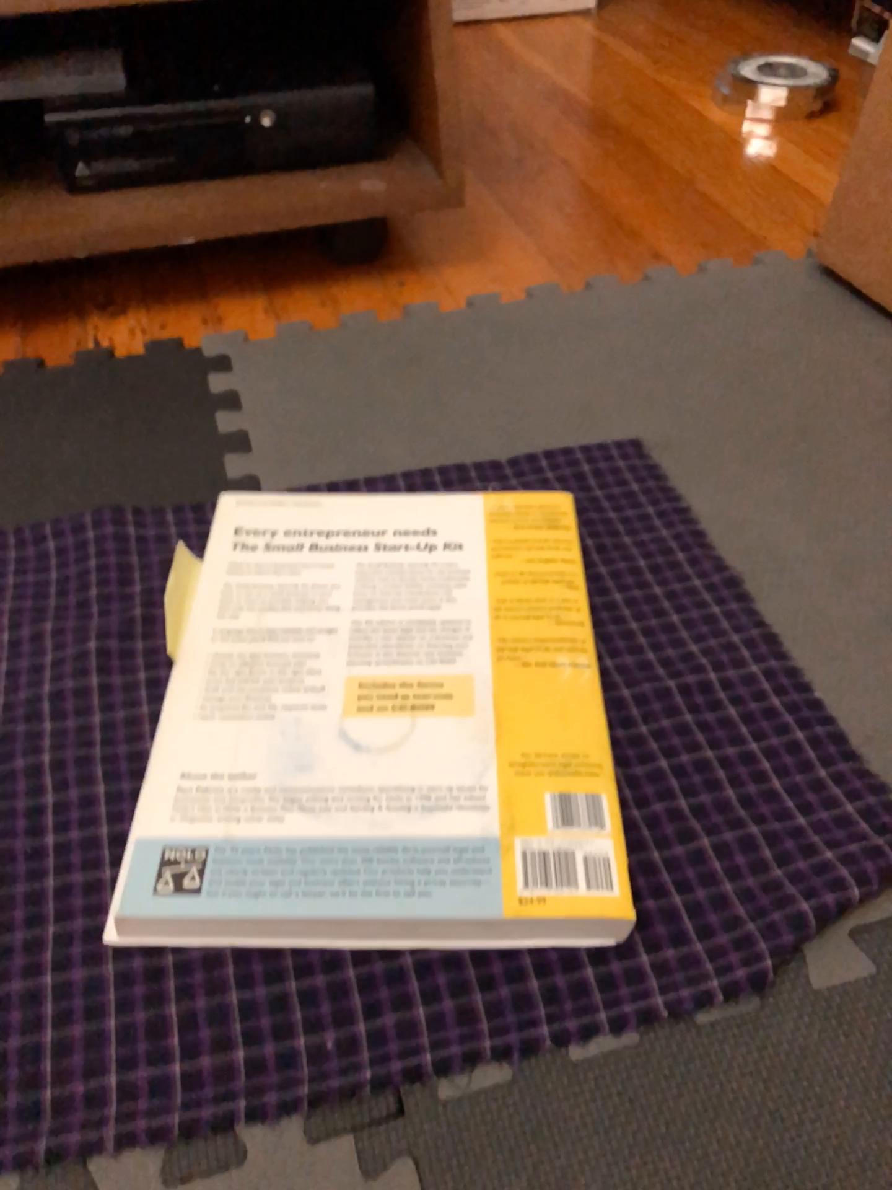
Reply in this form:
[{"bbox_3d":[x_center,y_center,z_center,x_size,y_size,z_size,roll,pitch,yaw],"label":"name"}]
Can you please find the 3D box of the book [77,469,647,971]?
[{"bbox_3d":[-0.034,0.040,0.523,0.230,0.030,0.312,0,44,0],"label":"book"}]
